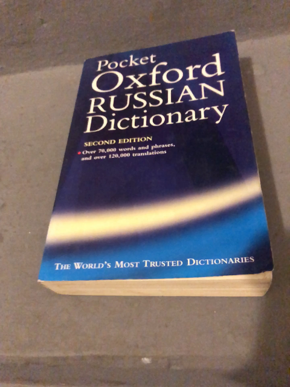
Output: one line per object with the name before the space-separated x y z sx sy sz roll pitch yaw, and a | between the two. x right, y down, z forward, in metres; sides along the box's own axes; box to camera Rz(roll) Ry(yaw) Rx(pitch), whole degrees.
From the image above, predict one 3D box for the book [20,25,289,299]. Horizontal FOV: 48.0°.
book | 0.007 -0.031 0.225 0.137 0.032 0.195 -5 58 13
